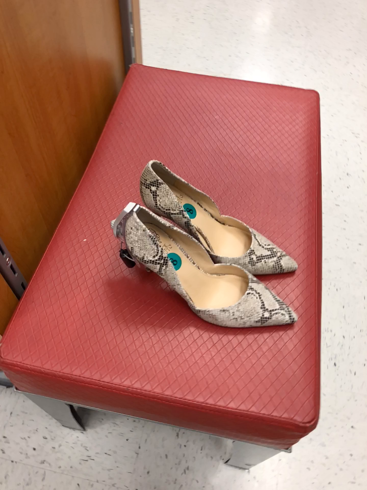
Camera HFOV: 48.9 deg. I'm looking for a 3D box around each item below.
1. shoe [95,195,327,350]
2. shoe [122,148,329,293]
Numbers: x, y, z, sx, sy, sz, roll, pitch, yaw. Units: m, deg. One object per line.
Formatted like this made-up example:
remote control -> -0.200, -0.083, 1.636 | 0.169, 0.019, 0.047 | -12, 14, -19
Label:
shoe -> 0.033, 0.036, 0.528 | 0.262, 0.112, 0.092 | 15, 56, 9
shoe -> 0.055, -0.037, 0.579 | 0.259, 0.102, 0.093 | 18, 56, 11
